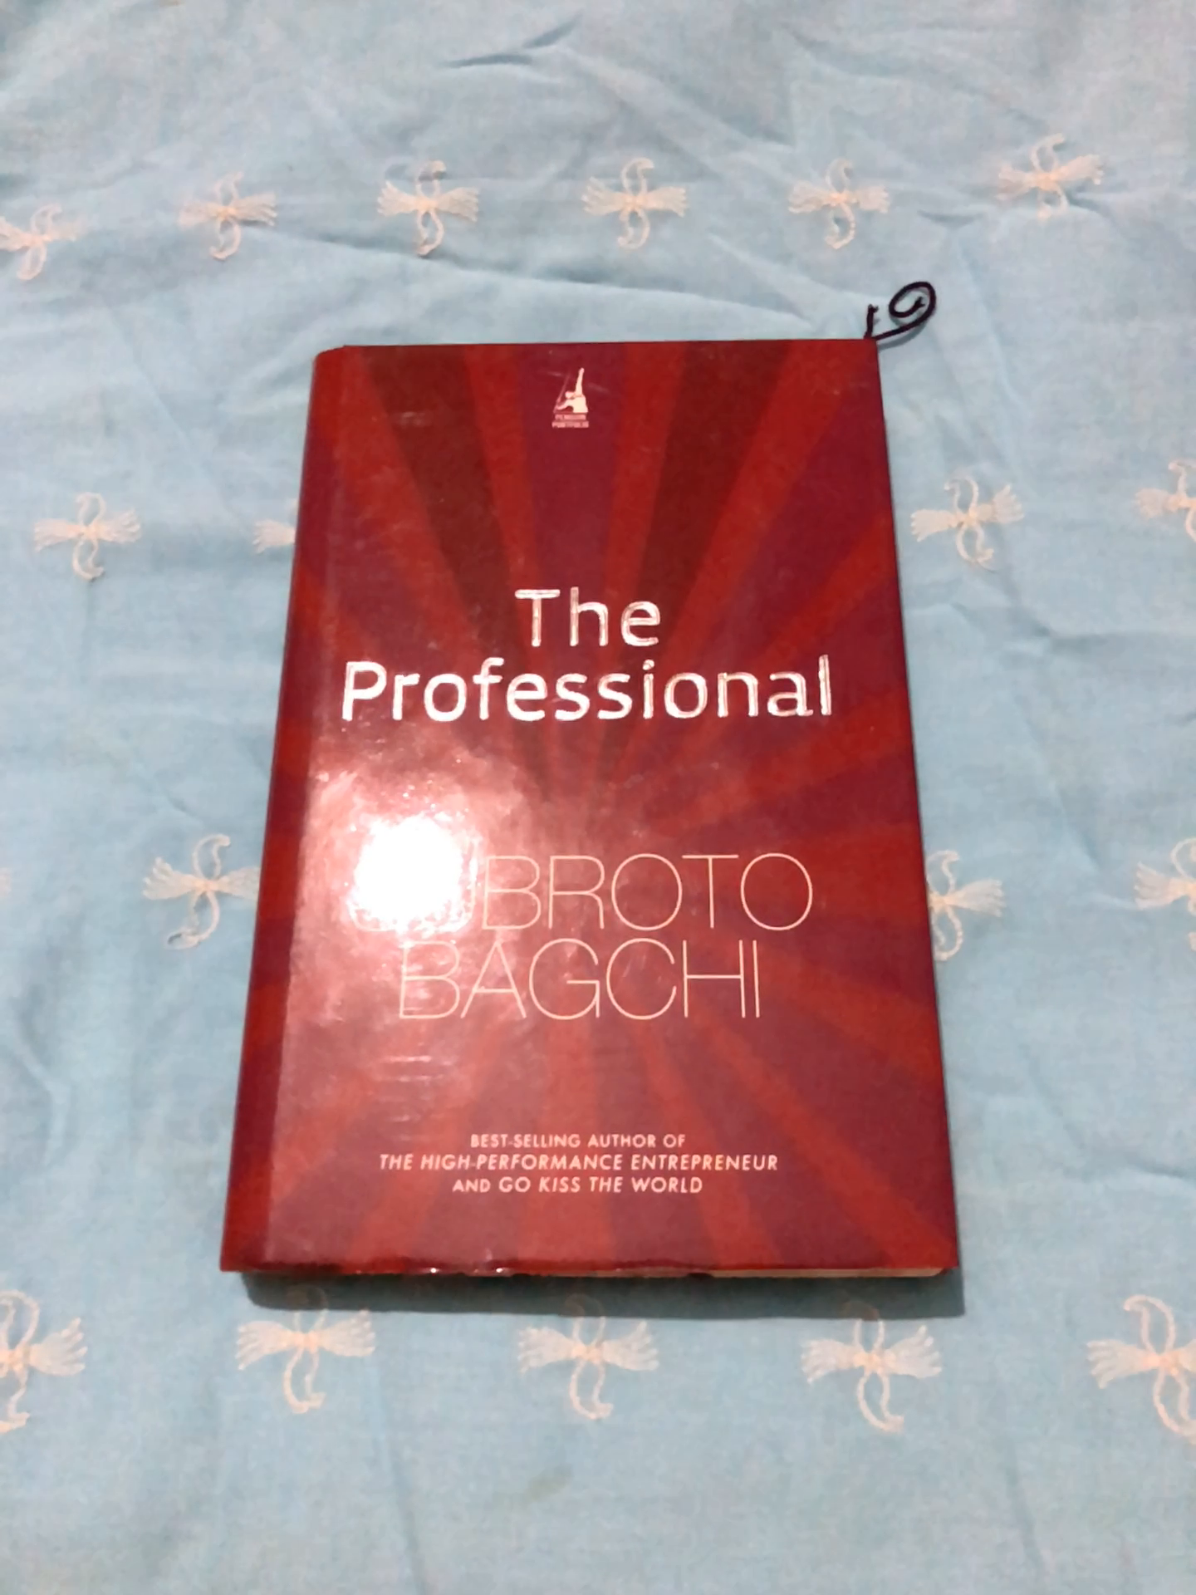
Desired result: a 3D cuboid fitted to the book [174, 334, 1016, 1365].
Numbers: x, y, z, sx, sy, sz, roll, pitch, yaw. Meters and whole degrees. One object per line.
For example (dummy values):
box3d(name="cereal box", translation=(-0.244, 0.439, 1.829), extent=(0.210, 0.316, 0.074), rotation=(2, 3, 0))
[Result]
box3d(name="book", translation=(0.003, 0.000, 0.289), extent=(0.150, 0.030, 0.220), rotation=(1, 70, 1))
